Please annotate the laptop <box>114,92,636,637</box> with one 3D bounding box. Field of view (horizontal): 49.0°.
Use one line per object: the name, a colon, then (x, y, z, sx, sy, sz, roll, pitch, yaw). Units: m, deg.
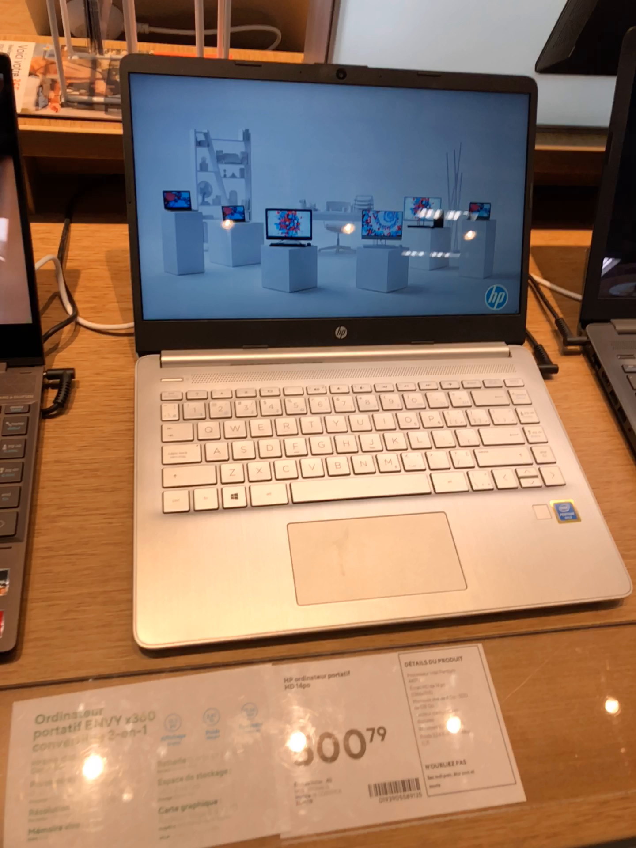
laptop: (0.032, -0.064, 0.488, 0.308, 0.167, 0.347, -3, 52, -8)
